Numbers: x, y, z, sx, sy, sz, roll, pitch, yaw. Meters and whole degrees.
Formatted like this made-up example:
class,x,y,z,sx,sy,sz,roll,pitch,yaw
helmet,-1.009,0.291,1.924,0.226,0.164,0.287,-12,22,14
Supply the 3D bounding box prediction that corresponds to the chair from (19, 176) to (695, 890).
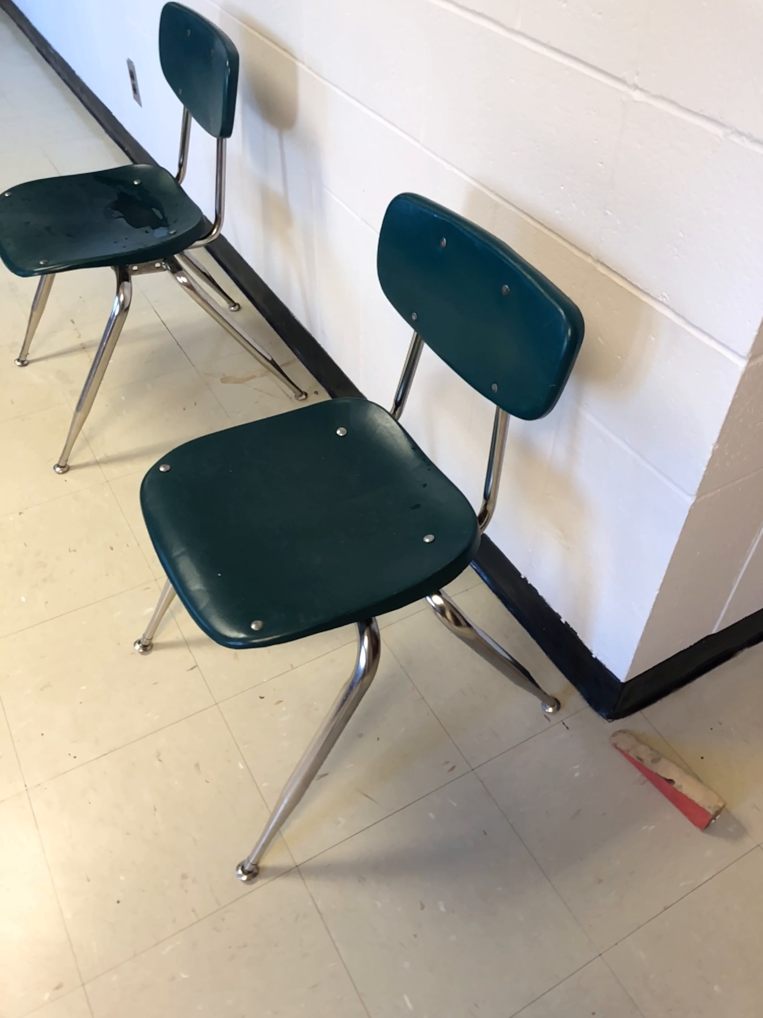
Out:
class,x,y,z,sx,sy,sz,roll,pitch,yaw
chair,-0.047,0.025,1.161,0.591,0.695,0.483,-21,48,-21
